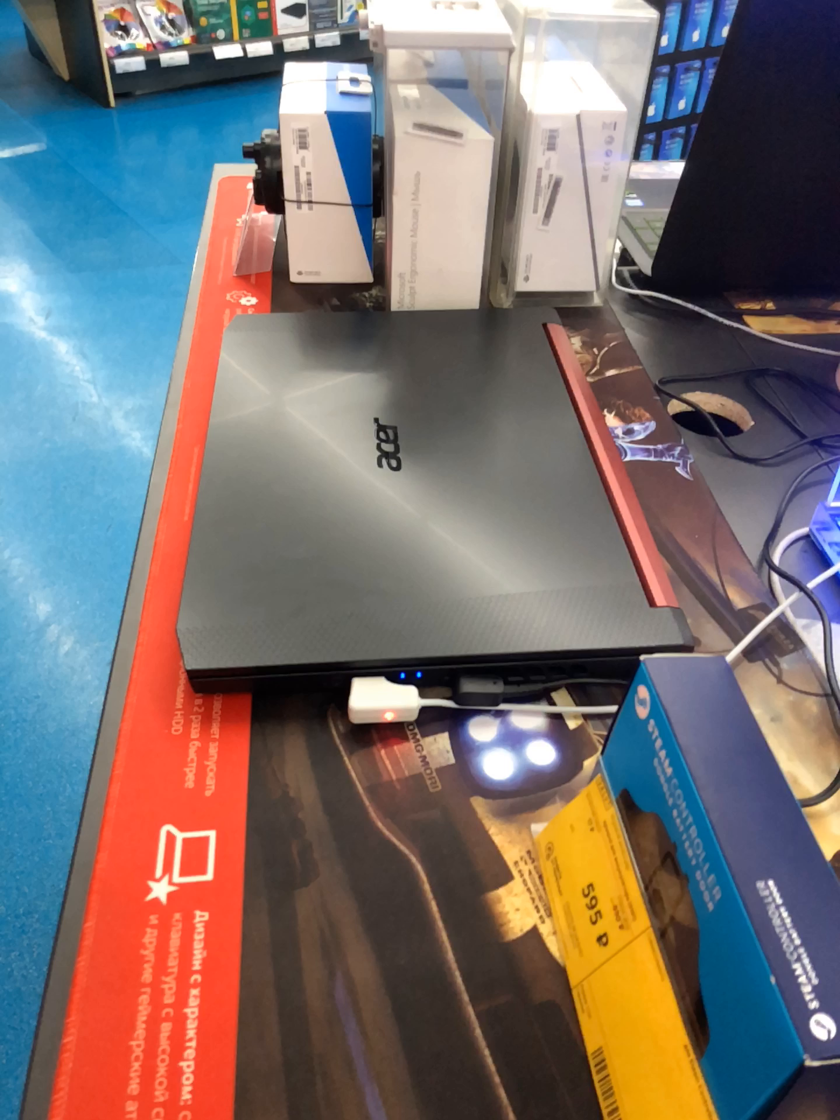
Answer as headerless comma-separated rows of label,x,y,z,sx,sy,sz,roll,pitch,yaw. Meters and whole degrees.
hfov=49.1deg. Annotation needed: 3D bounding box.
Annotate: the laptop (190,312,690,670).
laptop,-0.004,-0.070,0.577,0.242,0.005,0.352,-2,42,-4
